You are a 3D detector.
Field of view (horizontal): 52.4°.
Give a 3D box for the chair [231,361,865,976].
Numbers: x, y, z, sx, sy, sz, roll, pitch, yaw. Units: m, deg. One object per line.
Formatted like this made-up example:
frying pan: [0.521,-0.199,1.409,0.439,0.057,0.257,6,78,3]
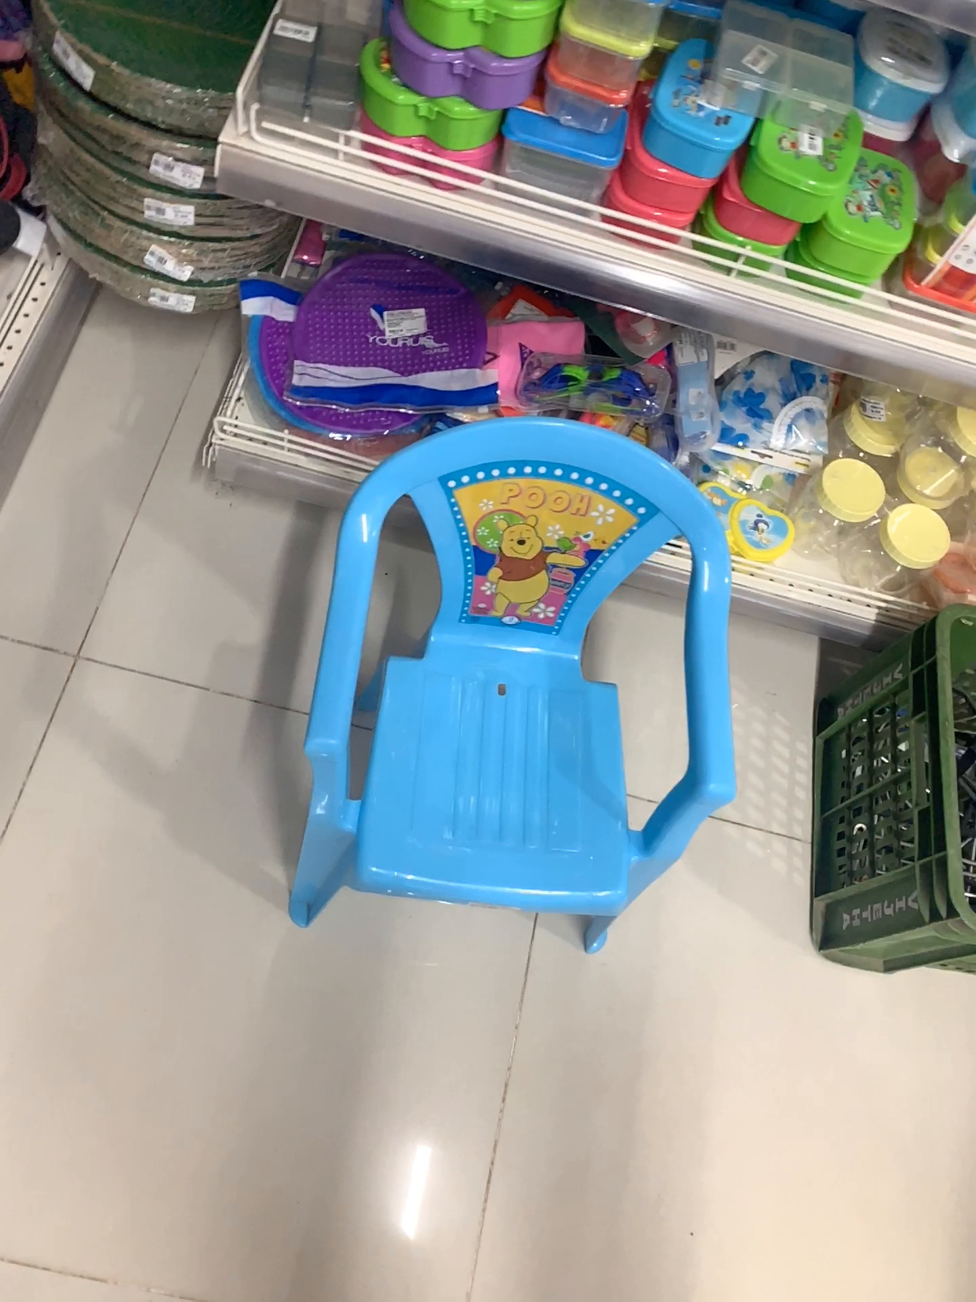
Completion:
chair: [0.012,0.074,0.897,0.390,0.509,0.350,7,66,-8]
